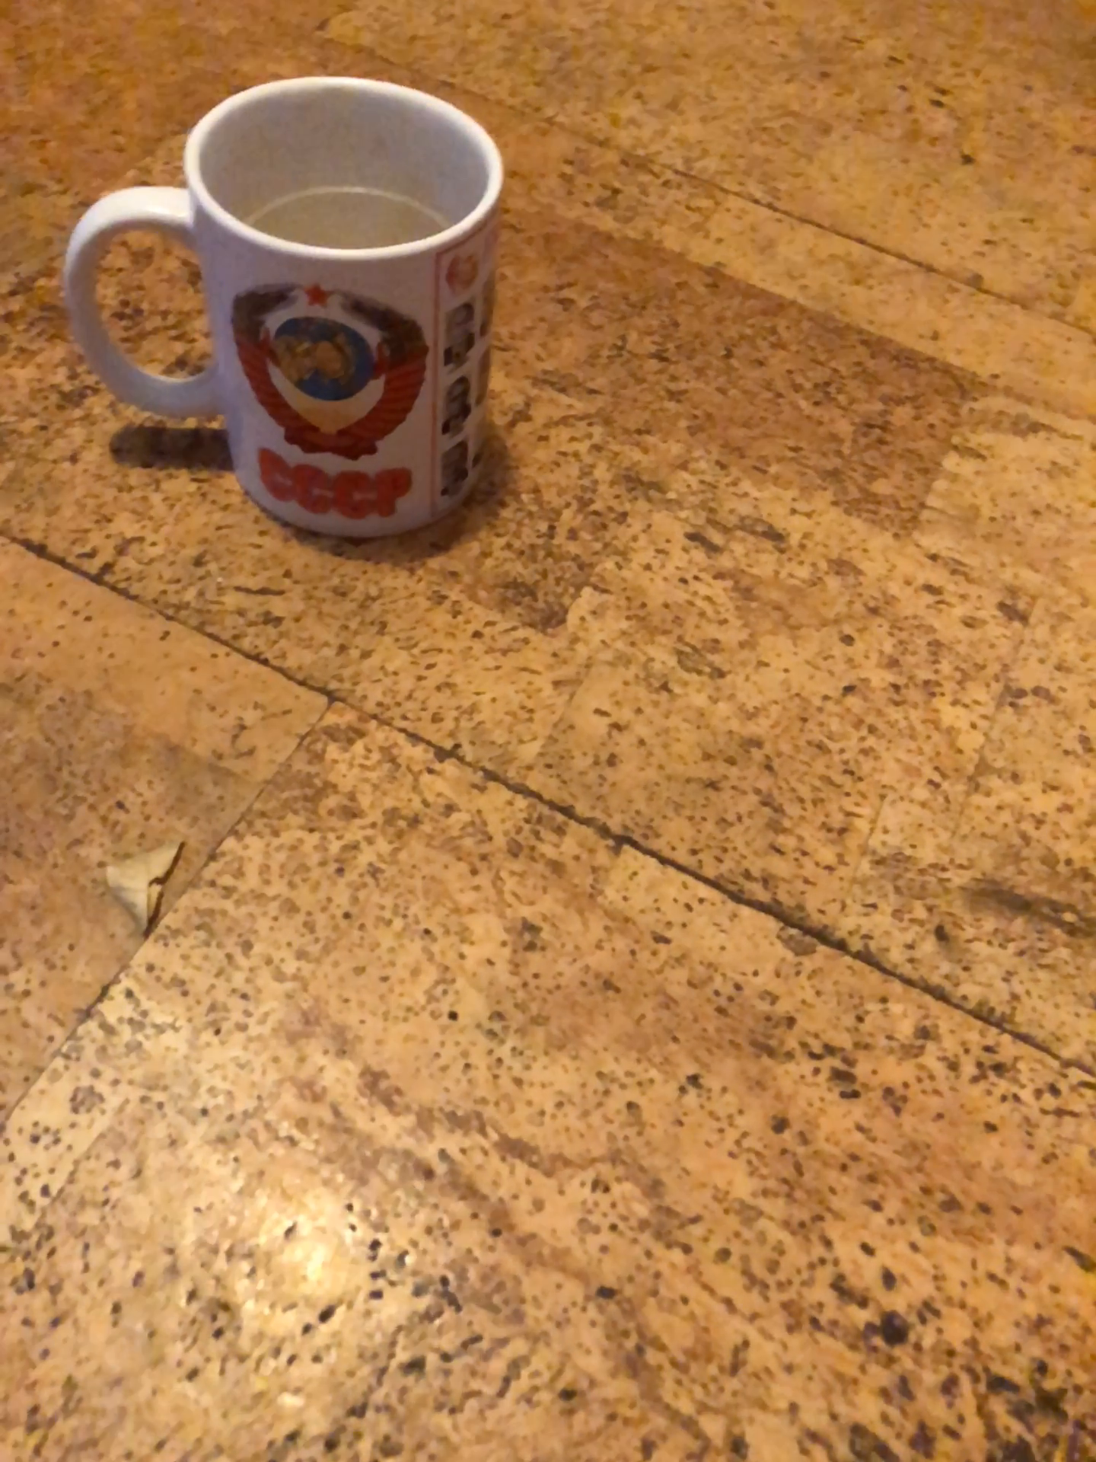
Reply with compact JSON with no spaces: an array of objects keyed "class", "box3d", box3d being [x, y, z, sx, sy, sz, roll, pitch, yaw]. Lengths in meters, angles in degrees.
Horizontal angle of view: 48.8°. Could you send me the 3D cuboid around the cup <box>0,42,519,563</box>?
[{"class":"cup","box3d":[-0.073,-0.118,0.345,0.119,0.100,0.083,5,55,-3]}]
